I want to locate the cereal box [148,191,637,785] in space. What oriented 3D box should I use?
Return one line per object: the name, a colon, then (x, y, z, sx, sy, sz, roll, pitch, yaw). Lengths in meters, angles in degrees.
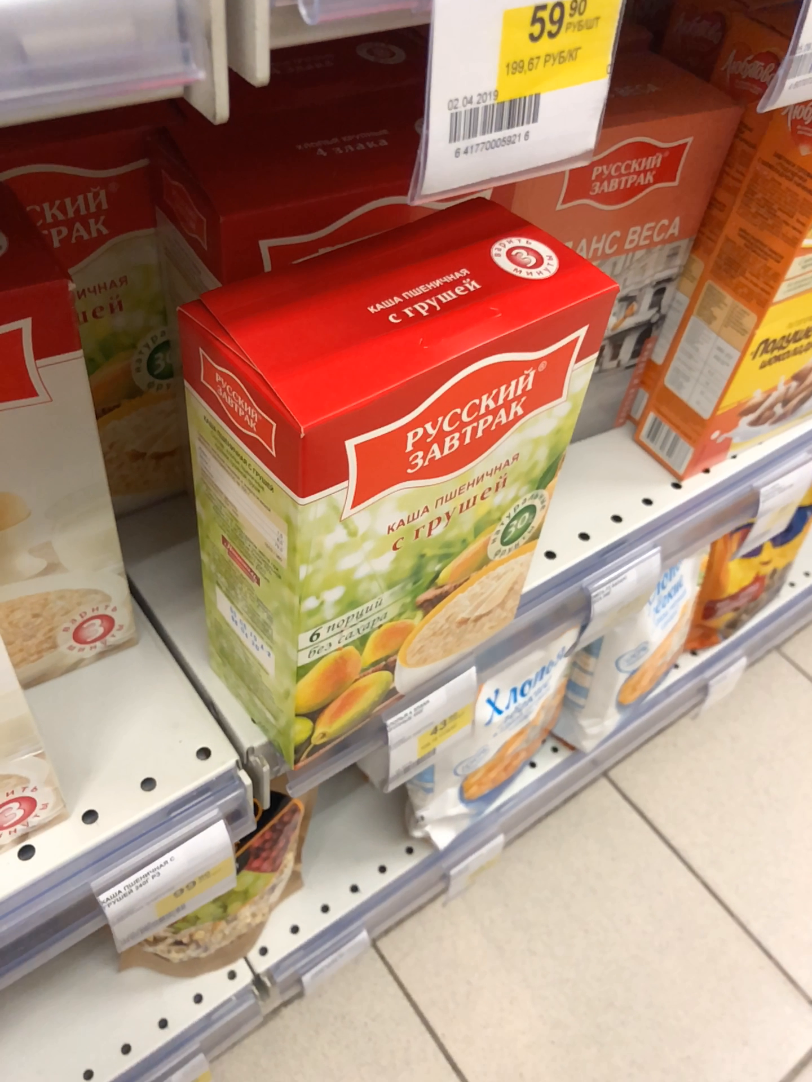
cereal box: (-0.008, -0.013, 0.340, 0.140, 0.189, 0.060, -29, 58, -29)
